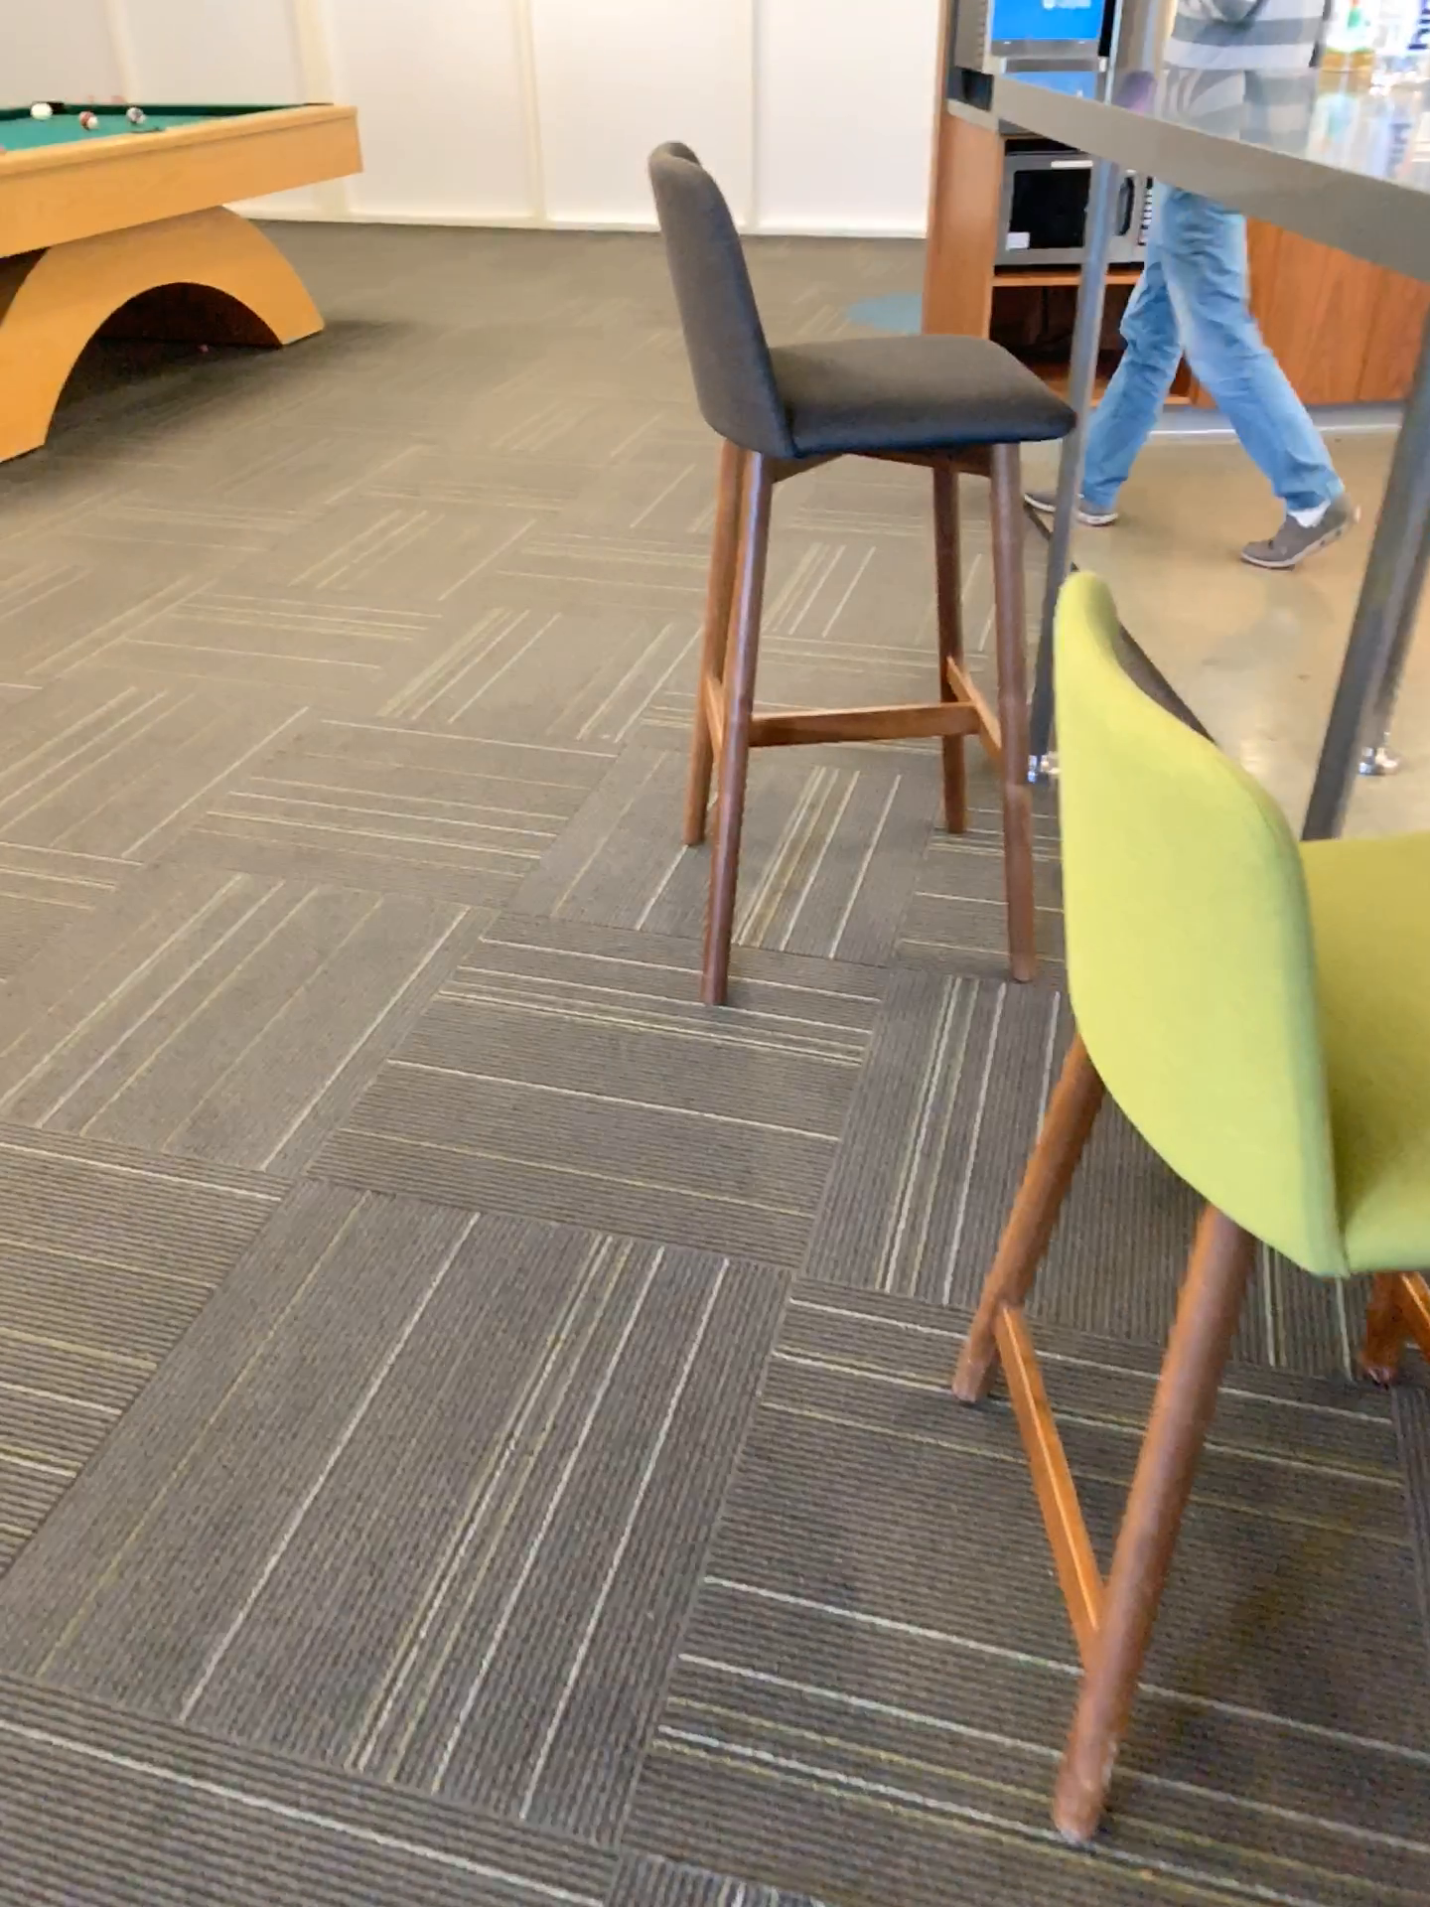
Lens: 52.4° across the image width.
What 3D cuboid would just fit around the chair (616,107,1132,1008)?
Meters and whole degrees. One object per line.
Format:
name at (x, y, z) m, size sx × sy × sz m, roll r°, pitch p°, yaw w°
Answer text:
chair at (0.164, -0.580, 2.018) m, size 0.500 × 0.944 × 0.856 m, roll -5°, pitch 34°, yaw 0°

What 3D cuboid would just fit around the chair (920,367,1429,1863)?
chair at (0.435, 0.117, 1.062) m, size 0.480 × 0.874 × 0.594 m, roll -4°, pitch 33°, yaw 1°
